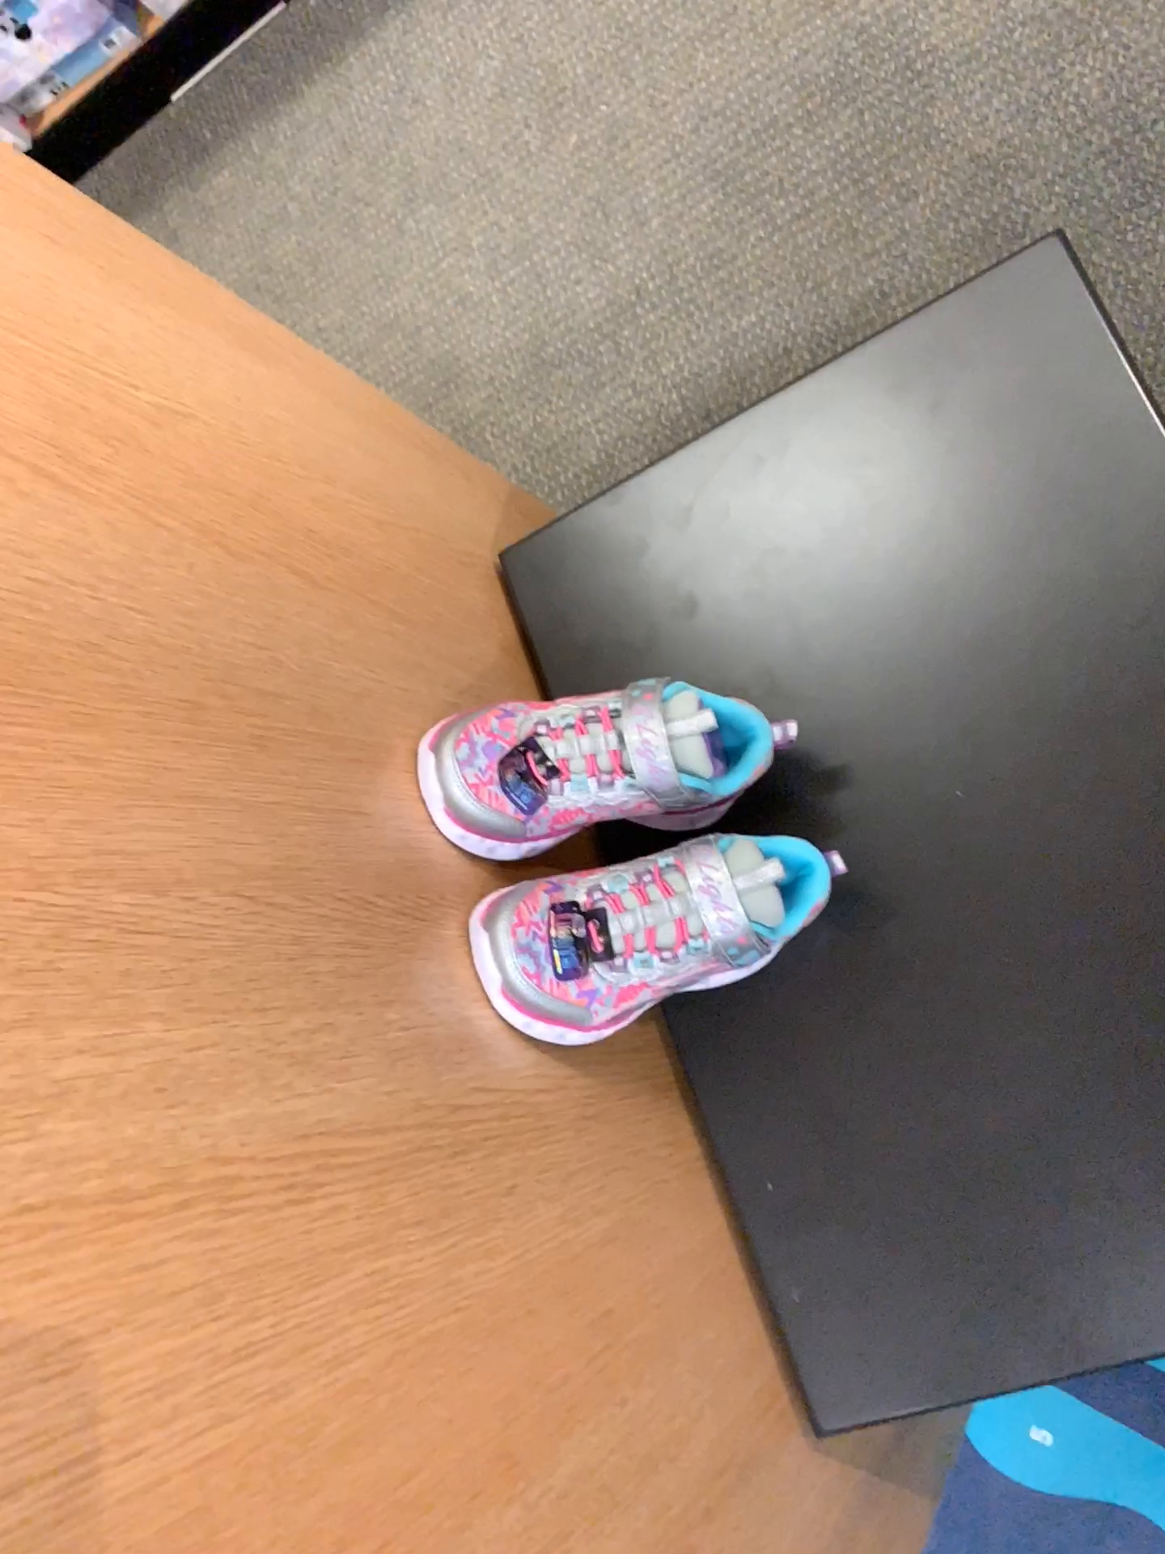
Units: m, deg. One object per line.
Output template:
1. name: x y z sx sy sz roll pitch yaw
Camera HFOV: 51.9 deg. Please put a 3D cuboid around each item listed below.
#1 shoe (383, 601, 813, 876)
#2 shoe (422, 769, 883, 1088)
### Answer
1. shoe: 0.005 -0.021 0.618 0.100 0.179 0.090 -44 58 58
2. shoe: 0.031 0.072 0.584 0.100 0.179 0.090 -49 57 57
